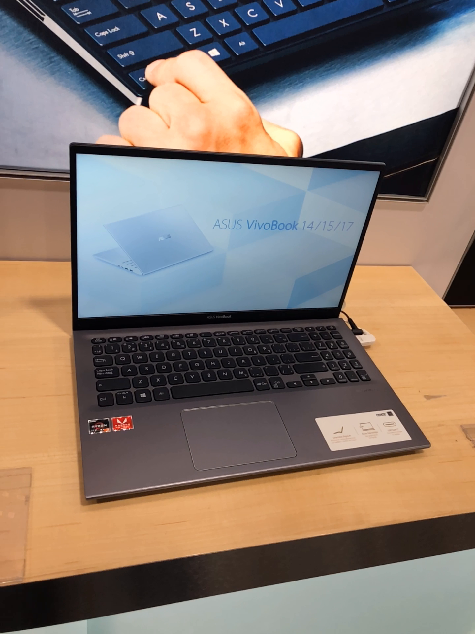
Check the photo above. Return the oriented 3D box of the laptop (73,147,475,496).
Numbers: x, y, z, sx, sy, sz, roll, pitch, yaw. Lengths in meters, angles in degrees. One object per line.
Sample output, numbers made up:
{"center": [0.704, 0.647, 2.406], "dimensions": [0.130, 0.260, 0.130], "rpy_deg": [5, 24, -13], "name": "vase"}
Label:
{"center": [0.025, -0.011, 0.523], "dimensions": [0.349, 0.211, 0.242], "rpy_deg": [-2, 37, -19], "name": "laptop"}
